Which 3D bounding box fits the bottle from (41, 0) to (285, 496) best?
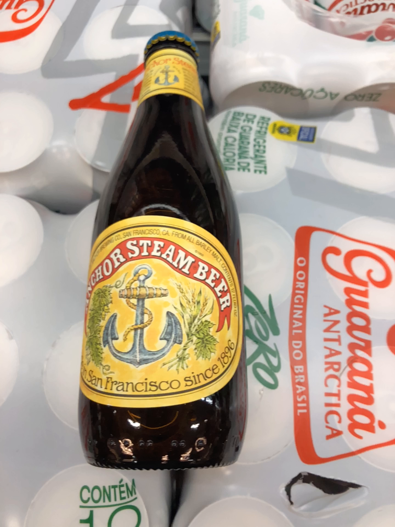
[{"bbox_3d":[-0.011,-0.030,0.189,0.070,0.060,0.220,-2,72,2],"label":"bottle"}]
